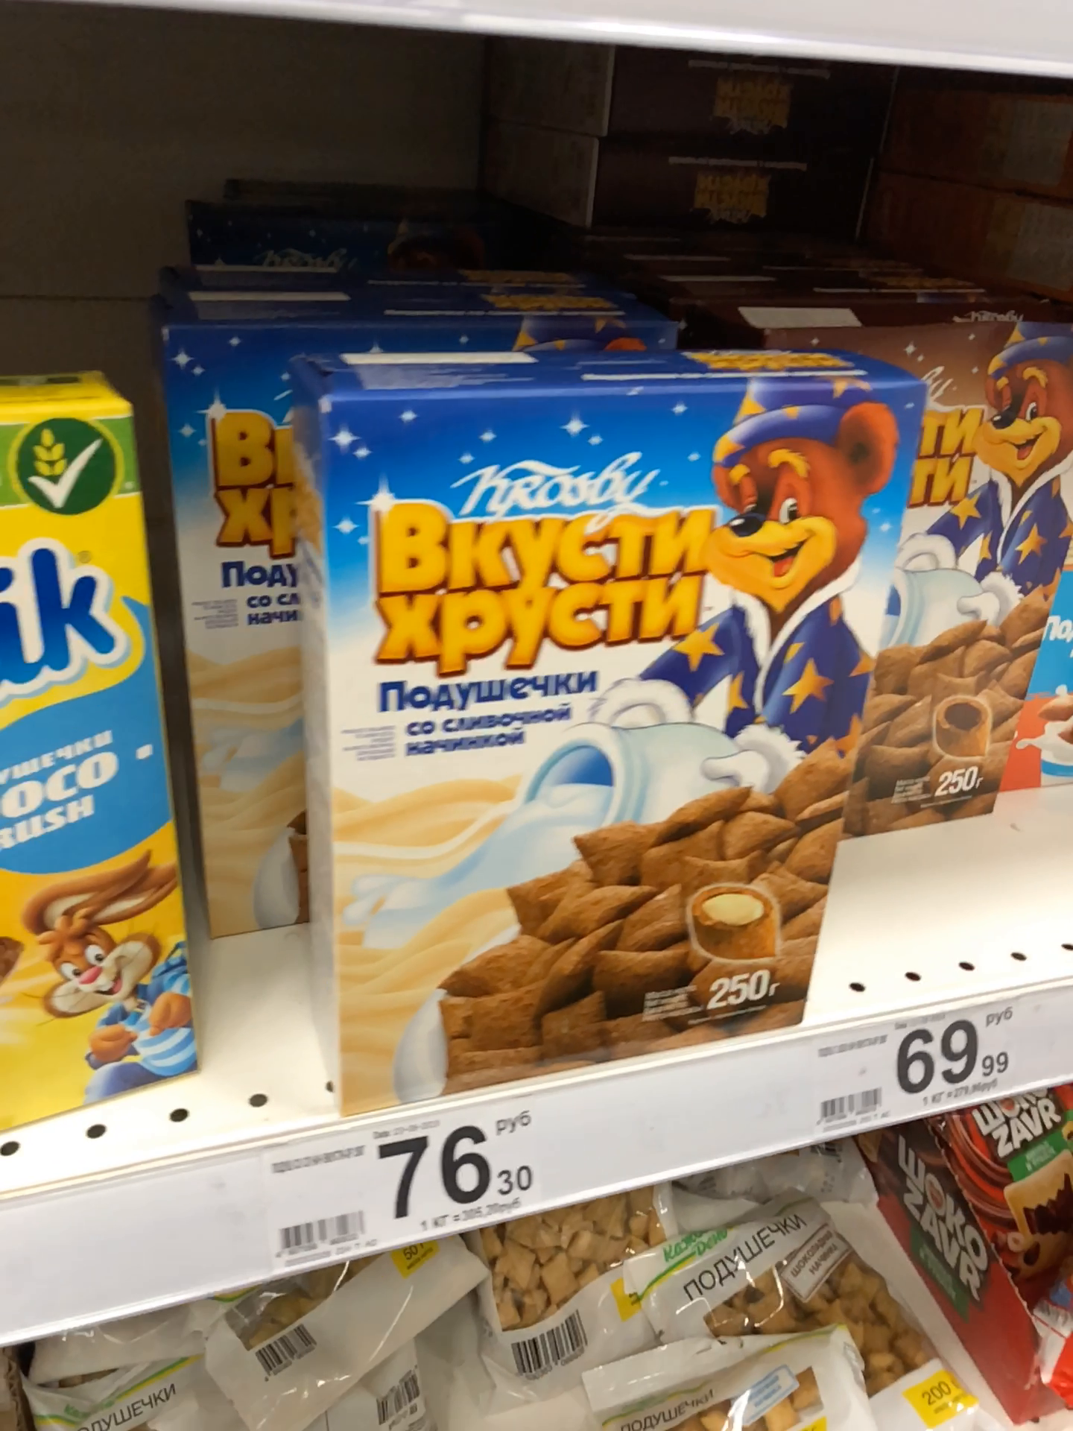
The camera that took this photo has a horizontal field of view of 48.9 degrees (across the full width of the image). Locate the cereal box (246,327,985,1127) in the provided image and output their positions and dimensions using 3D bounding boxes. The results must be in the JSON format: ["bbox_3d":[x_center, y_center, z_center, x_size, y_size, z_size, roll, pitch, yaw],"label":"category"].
[{"bbox_3d":[0.017,0.004,0.363,0.190,0.229,0.050,-6,29,-18],"label":"cereal box"}]
